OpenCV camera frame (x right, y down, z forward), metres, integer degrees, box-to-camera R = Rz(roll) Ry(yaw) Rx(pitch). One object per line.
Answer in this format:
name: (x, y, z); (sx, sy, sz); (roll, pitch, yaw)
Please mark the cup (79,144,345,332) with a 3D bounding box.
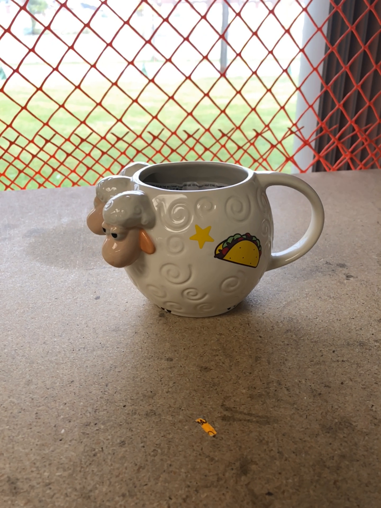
cup: (0.010, -0.016, 0.284); (0.146, 0.090, 0.076); (-5, 27, -6)
